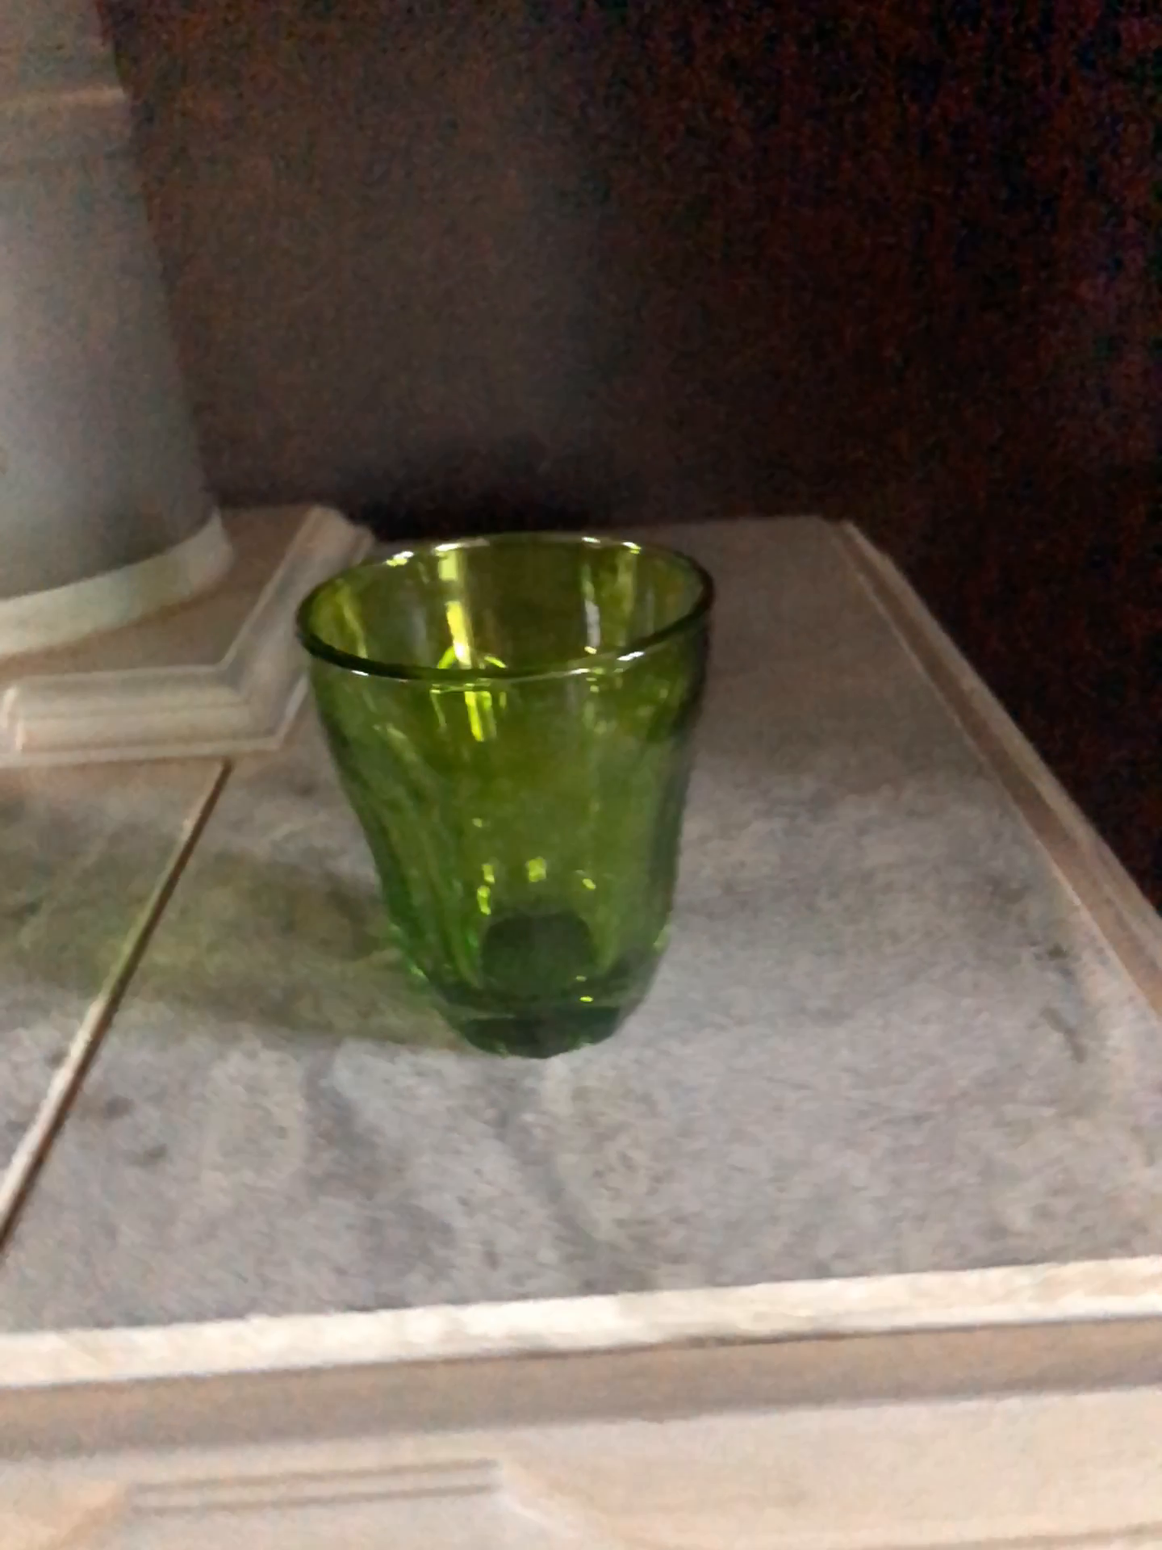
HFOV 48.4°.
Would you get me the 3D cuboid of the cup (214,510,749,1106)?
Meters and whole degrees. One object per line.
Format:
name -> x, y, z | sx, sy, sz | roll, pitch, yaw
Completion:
cup -> -0.014, 0.002, 0.249 | 0.080, 0.080, 0.080 | -4, 27, 2
